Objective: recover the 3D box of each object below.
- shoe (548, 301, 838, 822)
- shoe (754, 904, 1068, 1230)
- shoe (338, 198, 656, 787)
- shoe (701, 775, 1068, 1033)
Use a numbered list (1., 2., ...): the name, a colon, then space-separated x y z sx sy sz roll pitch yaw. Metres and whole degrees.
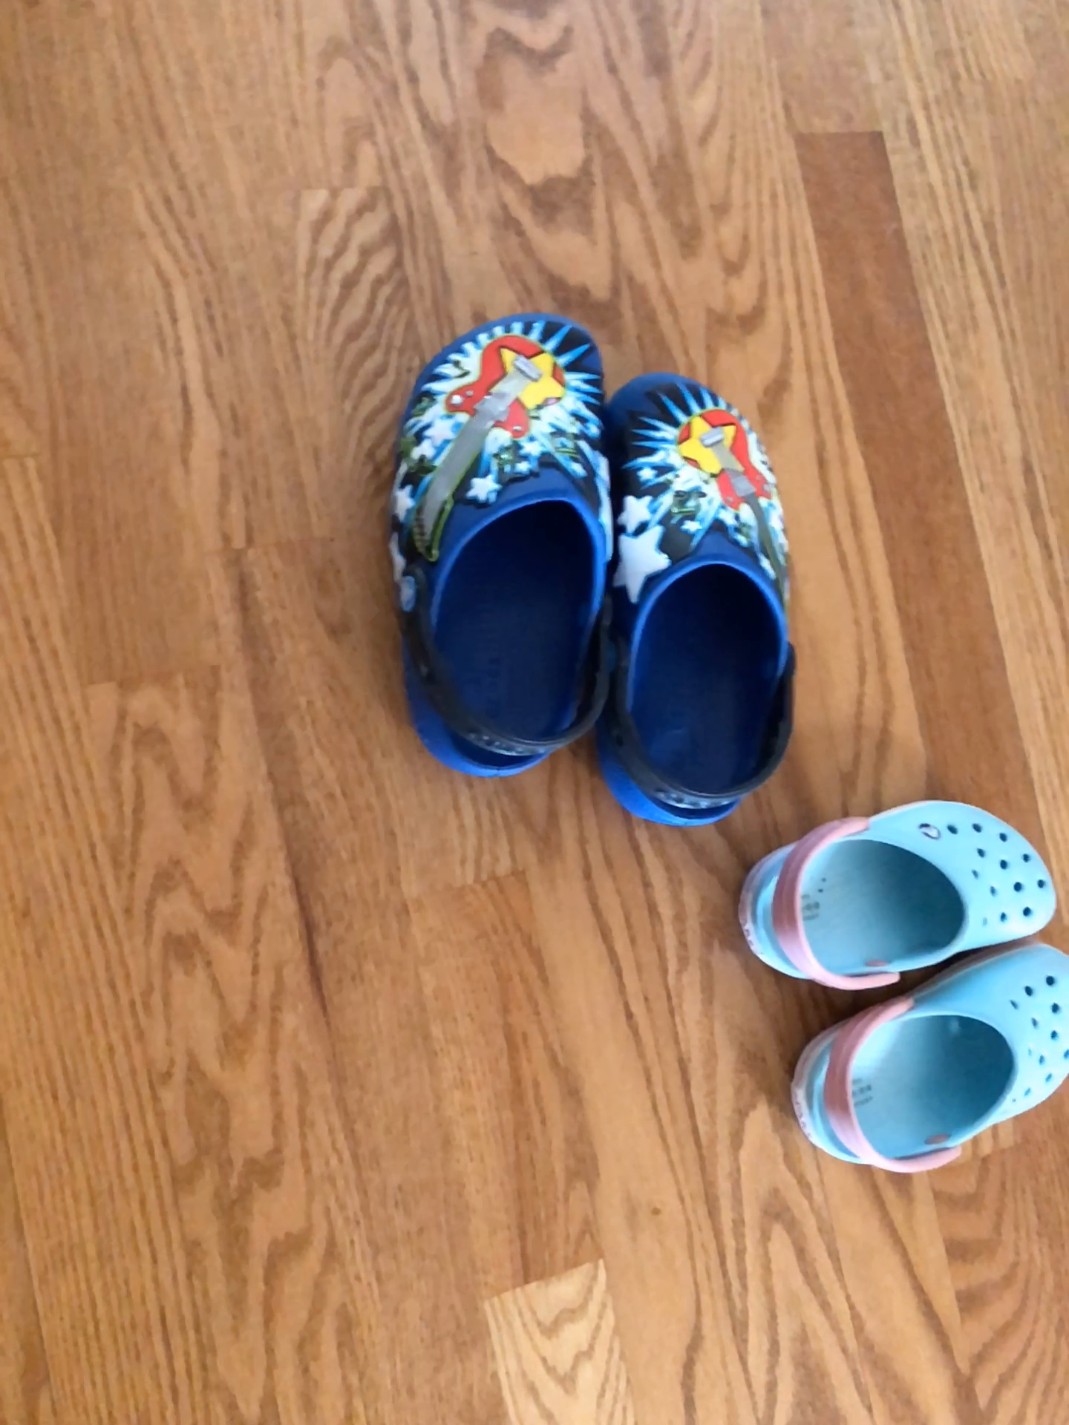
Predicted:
1. shoe: 0.070 -0.063 0.543 0.110 0.070 0.220 3 81 -16
2. shoe: 0.202 0.161 0.560 0.170 0.050 0.090 -16 86 -18
3. shoe: -0.016 -0.090 0.516 0.110 0.070 0.230 6 80 -15
4. shoe: 0.175 0.089 0.565 0.170 0.050 0.090 -7 84 -17
